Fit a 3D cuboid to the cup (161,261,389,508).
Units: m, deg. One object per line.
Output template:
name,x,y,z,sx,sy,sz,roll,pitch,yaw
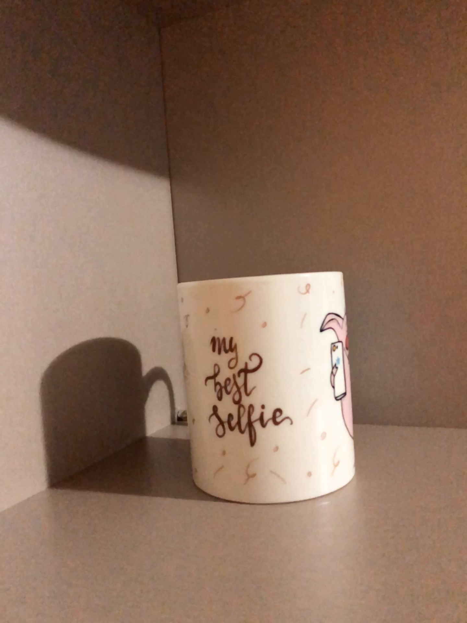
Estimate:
cup,0.021,0.028,0.270,0.086,0.096,0.118,-4,2,5
